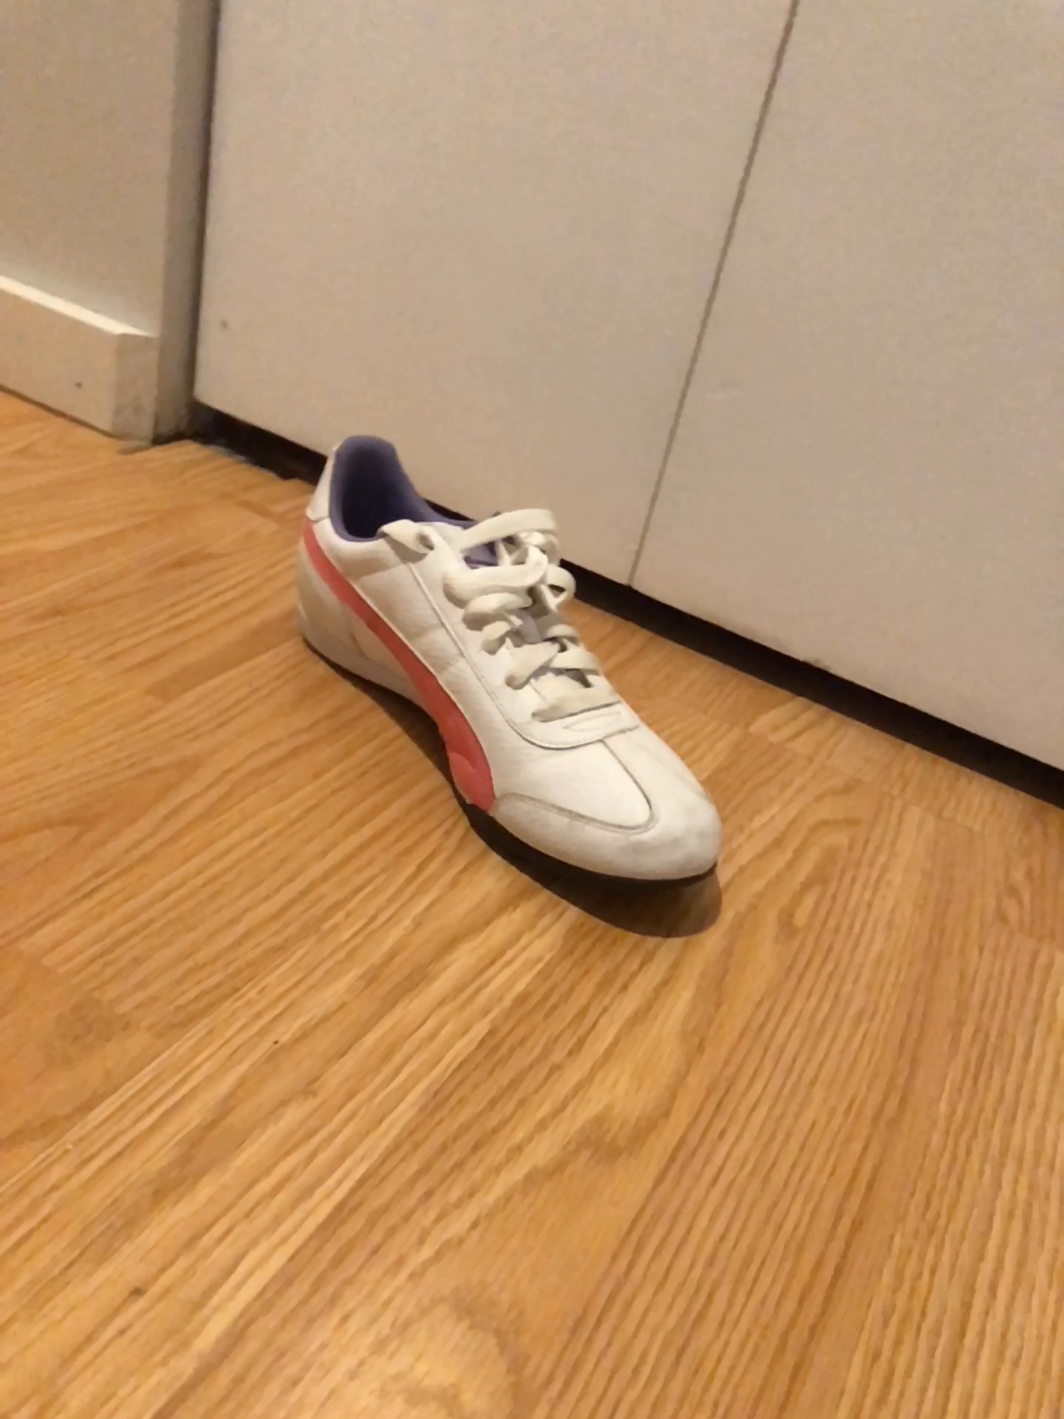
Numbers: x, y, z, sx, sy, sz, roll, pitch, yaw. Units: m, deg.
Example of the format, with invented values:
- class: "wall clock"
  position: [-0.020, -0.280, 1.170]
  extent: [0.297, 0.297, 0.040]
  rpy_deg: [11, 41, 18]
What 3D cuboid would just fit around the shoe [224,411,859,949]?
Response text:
- class: "shoe"
  position: [-0.014, -0.032, 0.473]
  extent: [0.100, 0.080, 0.261]
  rpy_deg: [-14, 40, -39]
